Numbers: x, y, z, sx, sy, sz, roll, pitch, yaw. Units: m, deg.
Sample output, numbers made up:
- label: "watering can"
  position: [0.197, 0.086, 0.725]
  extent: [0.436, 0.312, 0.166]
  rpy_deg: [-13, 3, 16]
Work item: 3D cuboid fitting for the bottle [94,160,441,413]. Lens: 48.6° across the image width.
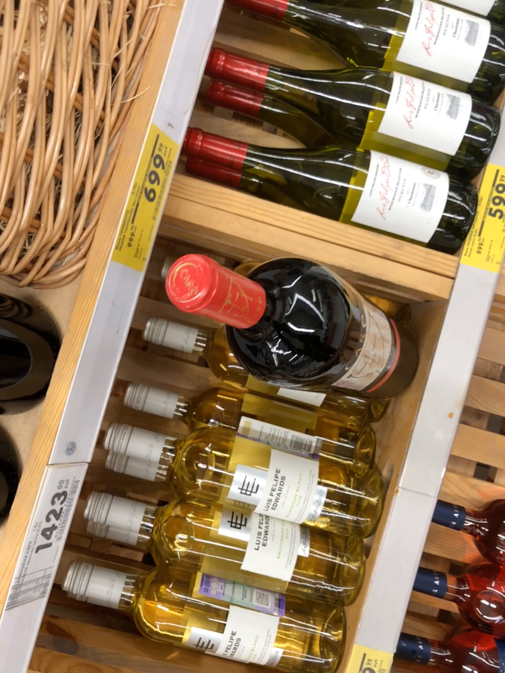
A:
- label: "bottle"
  position: [0.052, -0.010, 0.449]
  extent: [0.100, 0.359, 0.100]
  rpy_deg: [-6, 78, 28]
